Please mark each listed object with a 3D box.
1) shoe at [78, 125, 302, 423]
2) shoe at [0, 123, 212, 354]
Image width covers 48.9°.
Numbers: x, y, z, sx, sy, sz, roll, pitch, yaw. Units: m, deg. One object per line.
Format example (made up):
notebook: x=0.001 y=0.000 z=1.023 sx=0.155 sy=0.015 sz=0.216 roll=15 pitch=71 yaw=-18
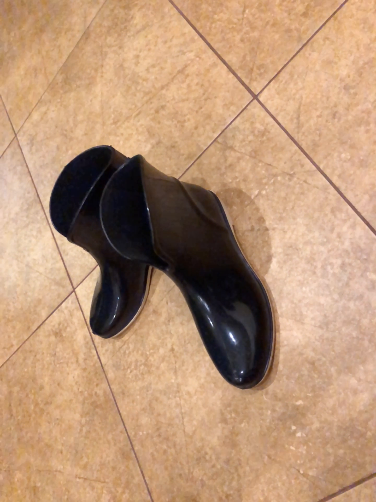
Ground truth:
shoe: x=0.001 y=0.025 z=0.420 sx=0.090 sy=0.169 sz=0.241 roll=-28 pitch=65 yaw=31
shoe: x=-0.107 y=-0.001 z=0.513 sx=0.090 sy=0.169 sz=0.240 roll=38 pitch=105 yaw=36
